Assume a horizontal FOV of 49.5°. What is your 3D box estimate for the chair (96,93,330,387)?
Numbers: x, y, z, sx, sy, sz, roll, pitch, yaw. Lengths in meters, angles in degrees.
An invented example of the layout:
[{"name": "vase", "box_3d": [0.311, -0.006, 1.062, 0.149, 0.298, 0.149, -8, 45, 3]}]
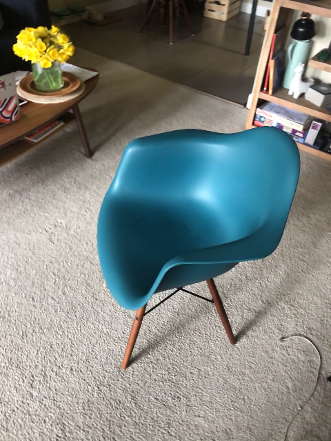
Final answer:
[{"name": "chair", "box_3d": [0.080, 0.067, 1.240, 0.561, 0.784, 0.584, -4, 44, -13]}]
